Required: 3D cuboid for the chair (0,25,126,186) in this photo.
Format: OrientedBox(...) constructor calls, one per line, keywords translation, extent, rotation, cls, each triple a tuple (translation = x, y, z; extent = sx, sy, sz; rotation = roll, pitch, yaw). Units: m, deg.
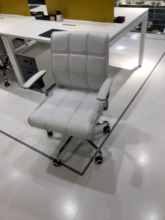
OrientedBox(translation=(-0.087, -0.059, 1.425), extent=(0.661, 0.923, 0.725), rotation=(10, 44, 20), cls="chair")
